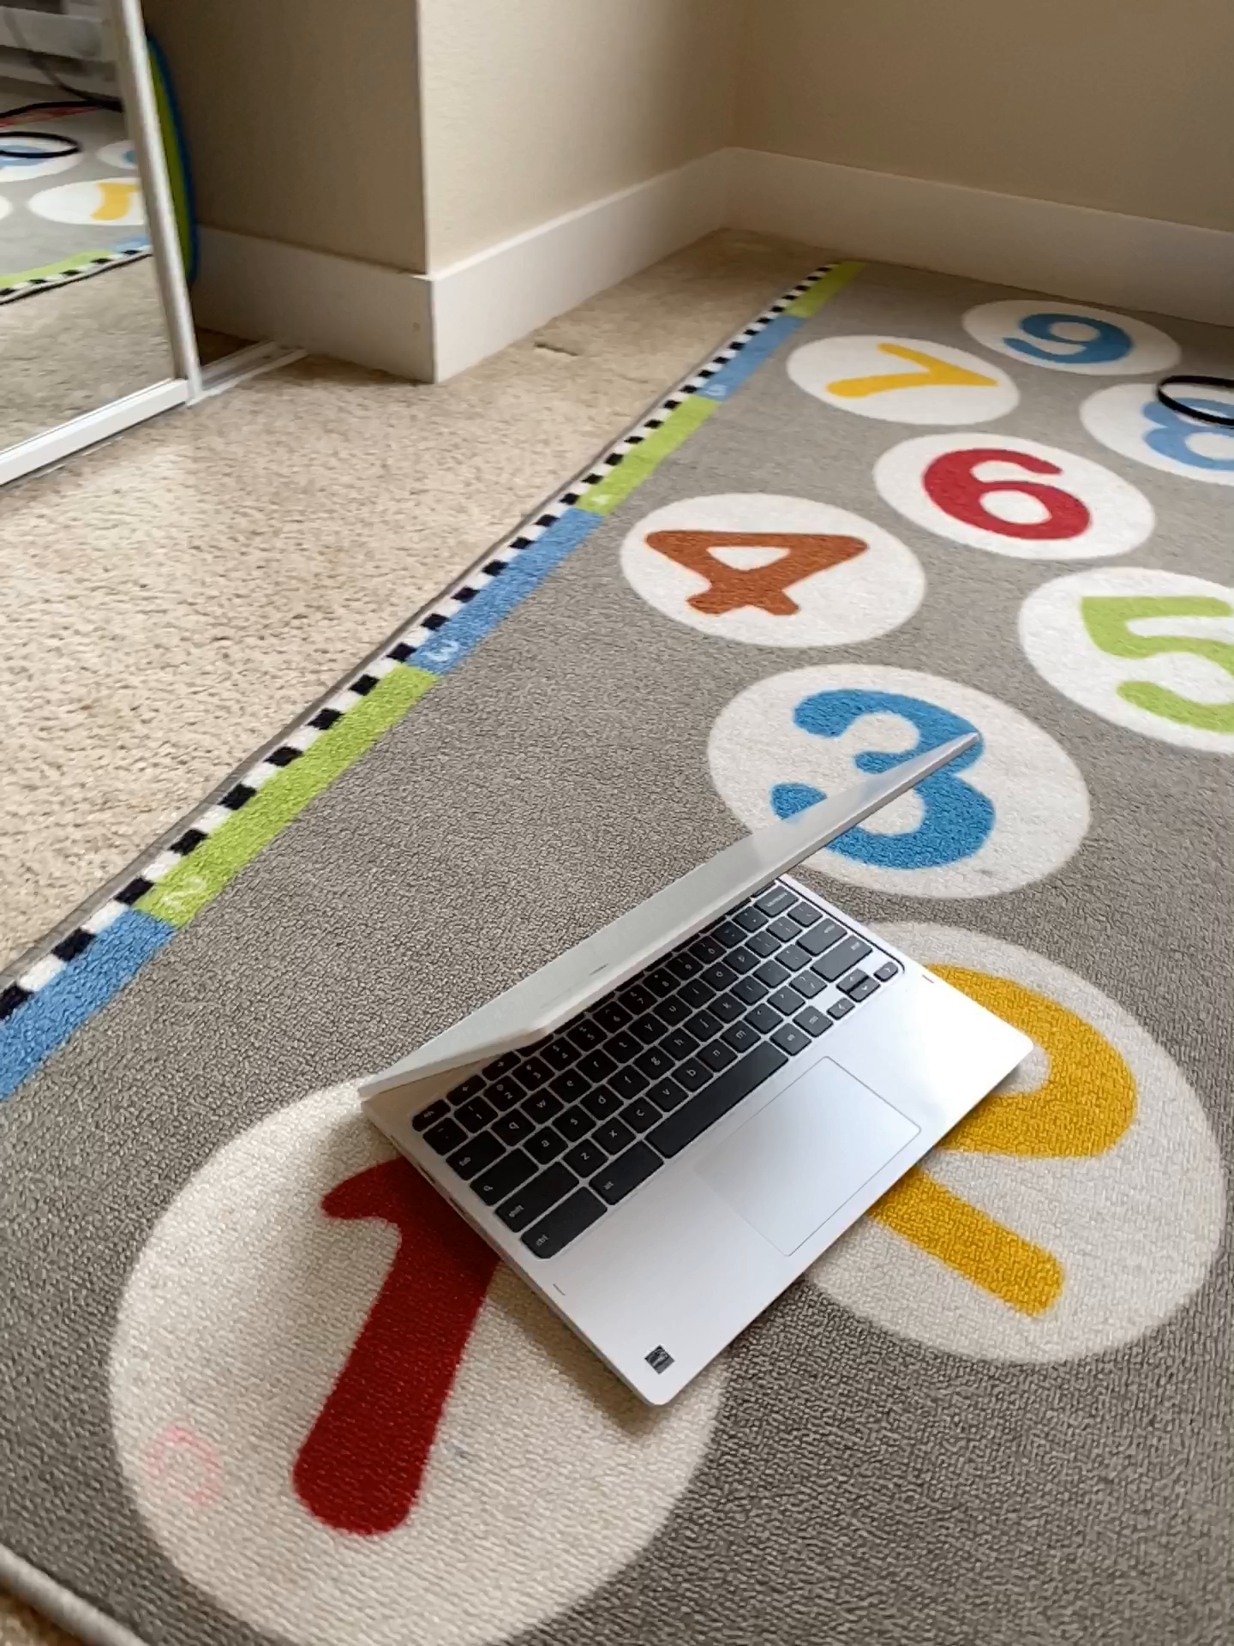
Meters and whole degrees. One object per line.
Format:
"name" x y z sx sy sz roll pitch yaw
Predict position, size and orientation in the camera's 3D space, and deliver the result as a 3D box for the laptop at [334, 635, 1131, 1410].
"laptop" 0.056 0.070 0.618 0.299 0.162 0.217 -29 50 -34
